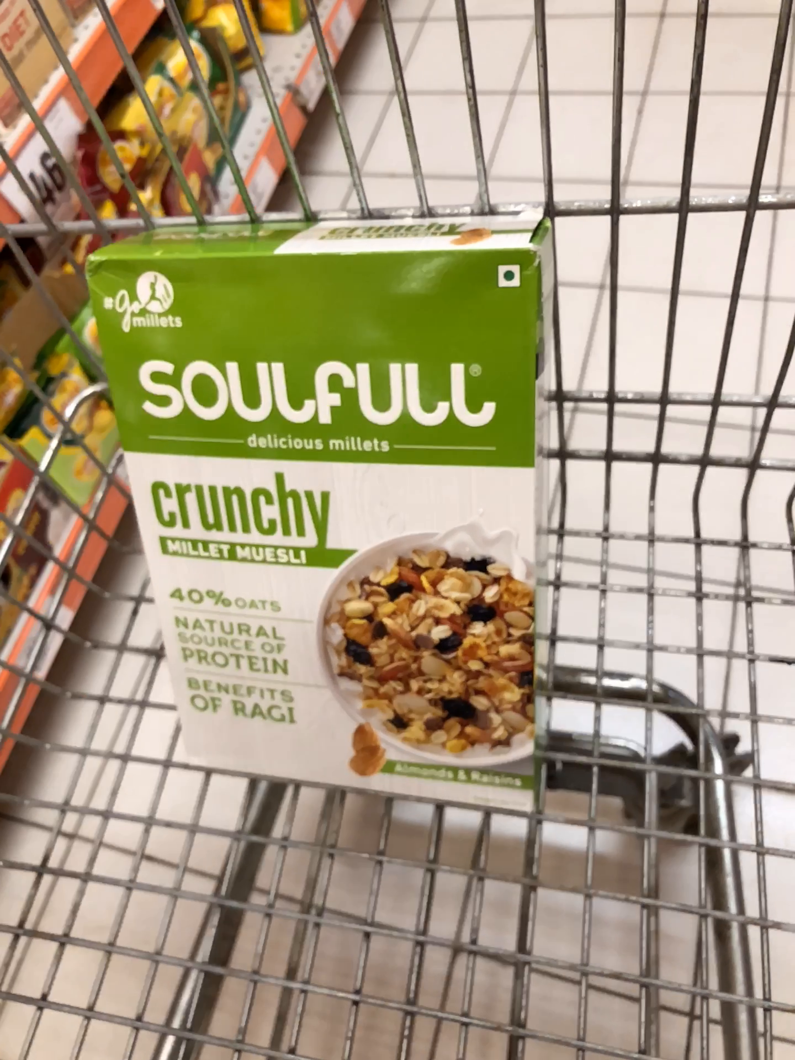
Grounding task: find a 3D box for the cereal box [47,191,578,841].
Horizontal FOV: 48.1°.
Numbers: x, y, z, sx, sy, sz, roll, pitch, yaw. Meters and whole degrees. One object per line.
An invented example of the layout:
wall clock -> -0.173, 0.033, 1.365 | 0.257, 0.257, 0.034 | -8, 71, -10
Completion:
cereal box -> -0.020, -0.003, 0.359 | 0.170, 0.239, 0.070 | 4, 26, 14
